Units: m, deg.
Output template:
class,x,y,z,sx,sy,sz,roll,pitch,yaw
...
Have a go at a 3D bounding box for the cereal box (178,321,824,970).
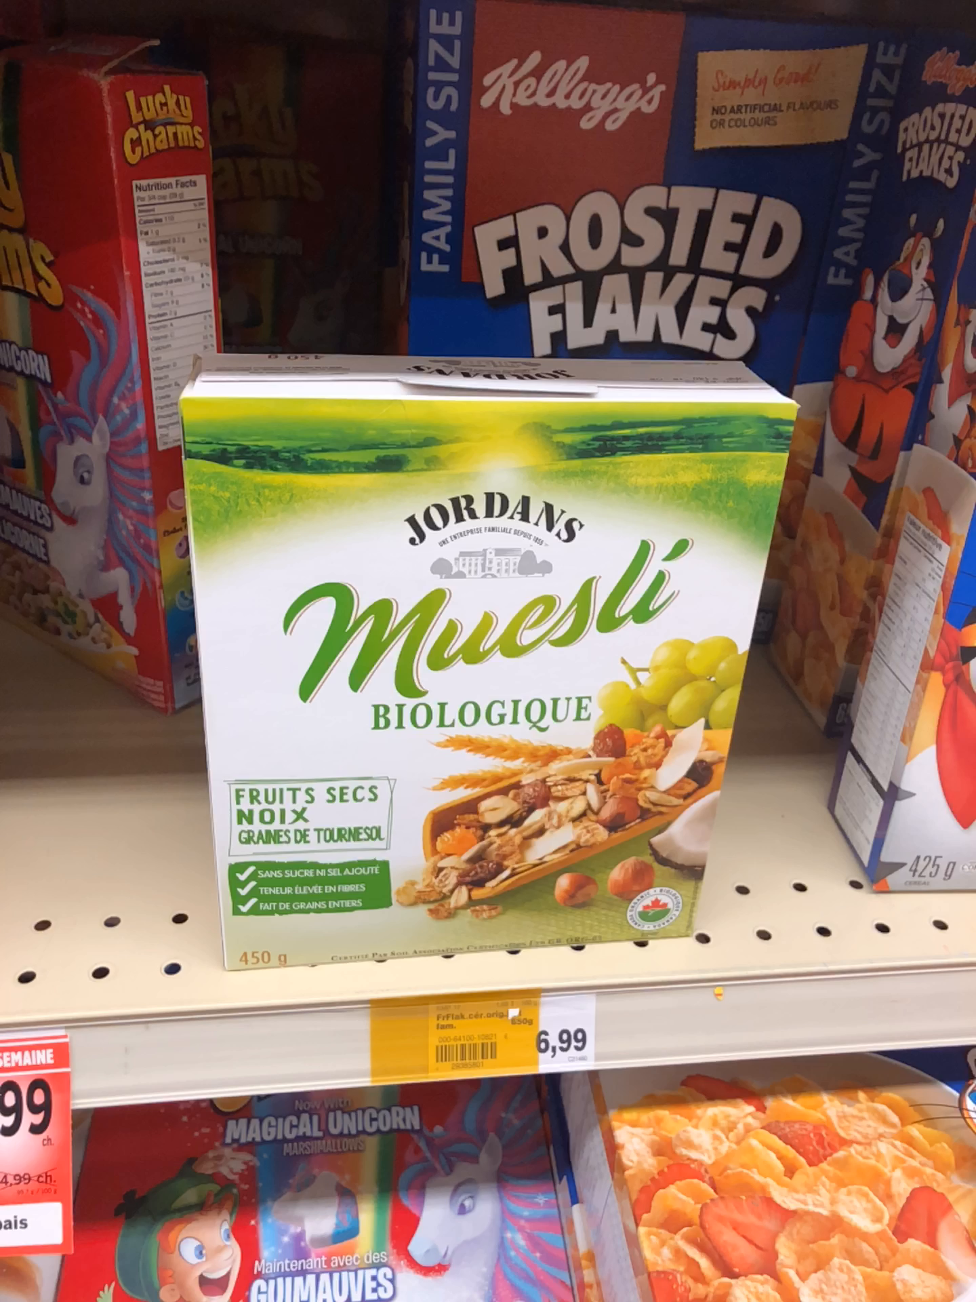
class,x,y,z,sx,sy,sz,roll,pitch,yaw
cereal box,-0.003,0.006,0.372,0.180,0.218,0.050,-1,30,-9
